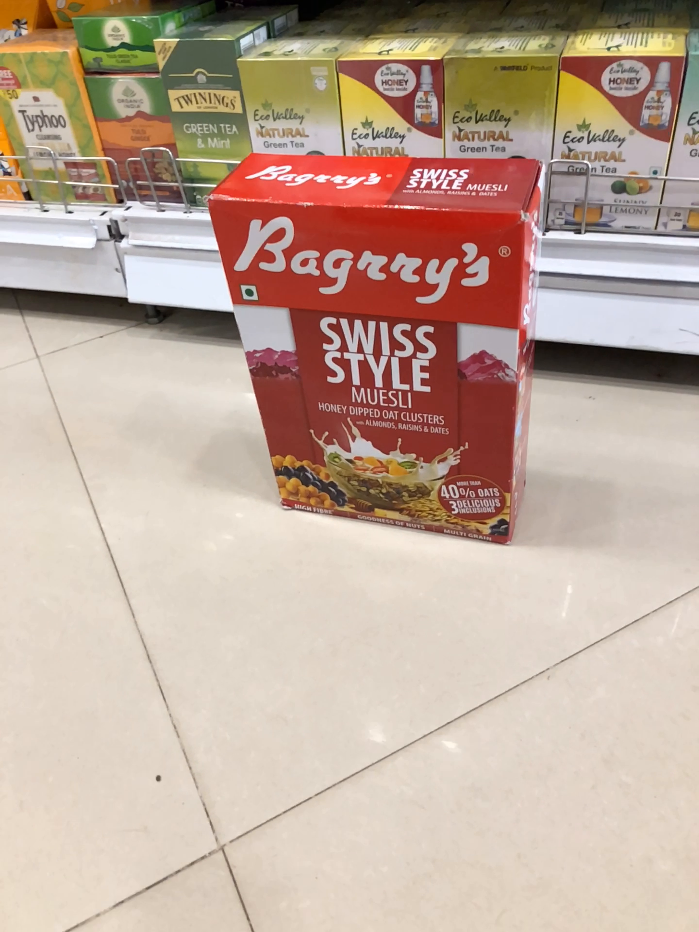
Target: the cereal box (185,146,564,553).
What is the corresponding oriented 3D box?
[{"bbox_3d":[0.027,-0.072,0.516,0.200,0.248,0.081,8,44,18],"label":"cereal box"}]
